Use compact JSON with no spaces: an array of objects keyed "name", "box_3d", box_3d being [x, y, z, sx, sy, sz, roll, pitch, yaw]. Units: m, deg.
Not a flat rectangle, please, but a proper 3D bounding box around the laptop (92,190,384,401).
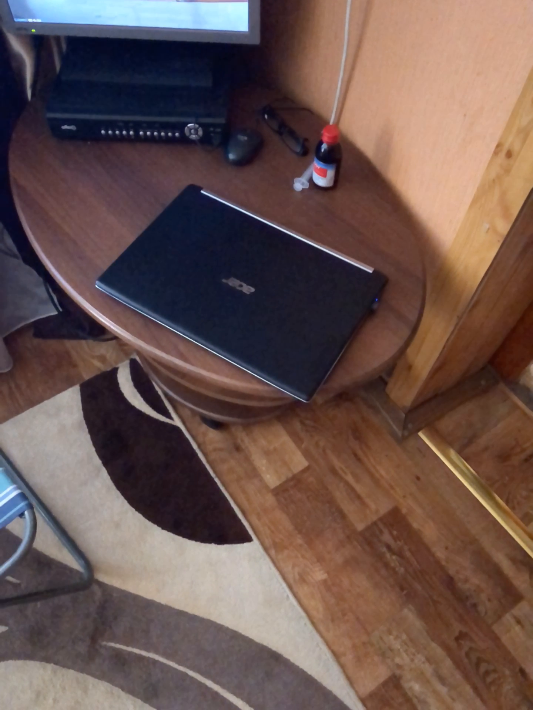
[{"name":"laptop","box_3d":[-0.041,-0.107,0.886,0.363,0.004,0.240,28,62,15]}]
